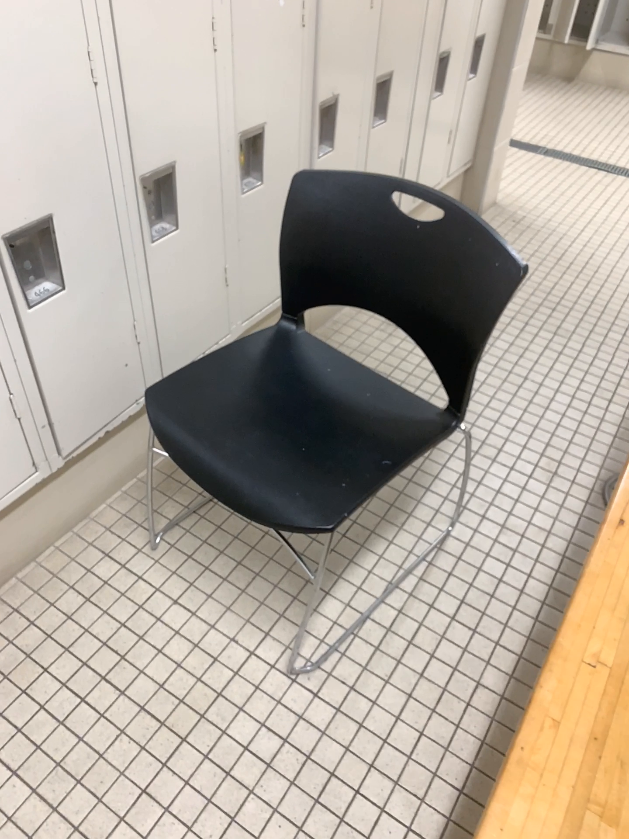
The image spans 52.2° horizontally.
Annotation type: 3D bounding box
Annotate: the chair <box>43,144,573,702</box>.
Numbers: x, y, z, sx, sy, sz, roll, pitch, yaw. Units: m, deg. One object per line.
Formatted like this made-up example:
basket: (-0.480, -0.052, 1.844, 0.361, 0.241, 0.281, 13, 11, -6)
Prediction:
chair: (0.000, -0.030, 1.135, 0.476, 0.631, 0.614, 33, 49, 28)
